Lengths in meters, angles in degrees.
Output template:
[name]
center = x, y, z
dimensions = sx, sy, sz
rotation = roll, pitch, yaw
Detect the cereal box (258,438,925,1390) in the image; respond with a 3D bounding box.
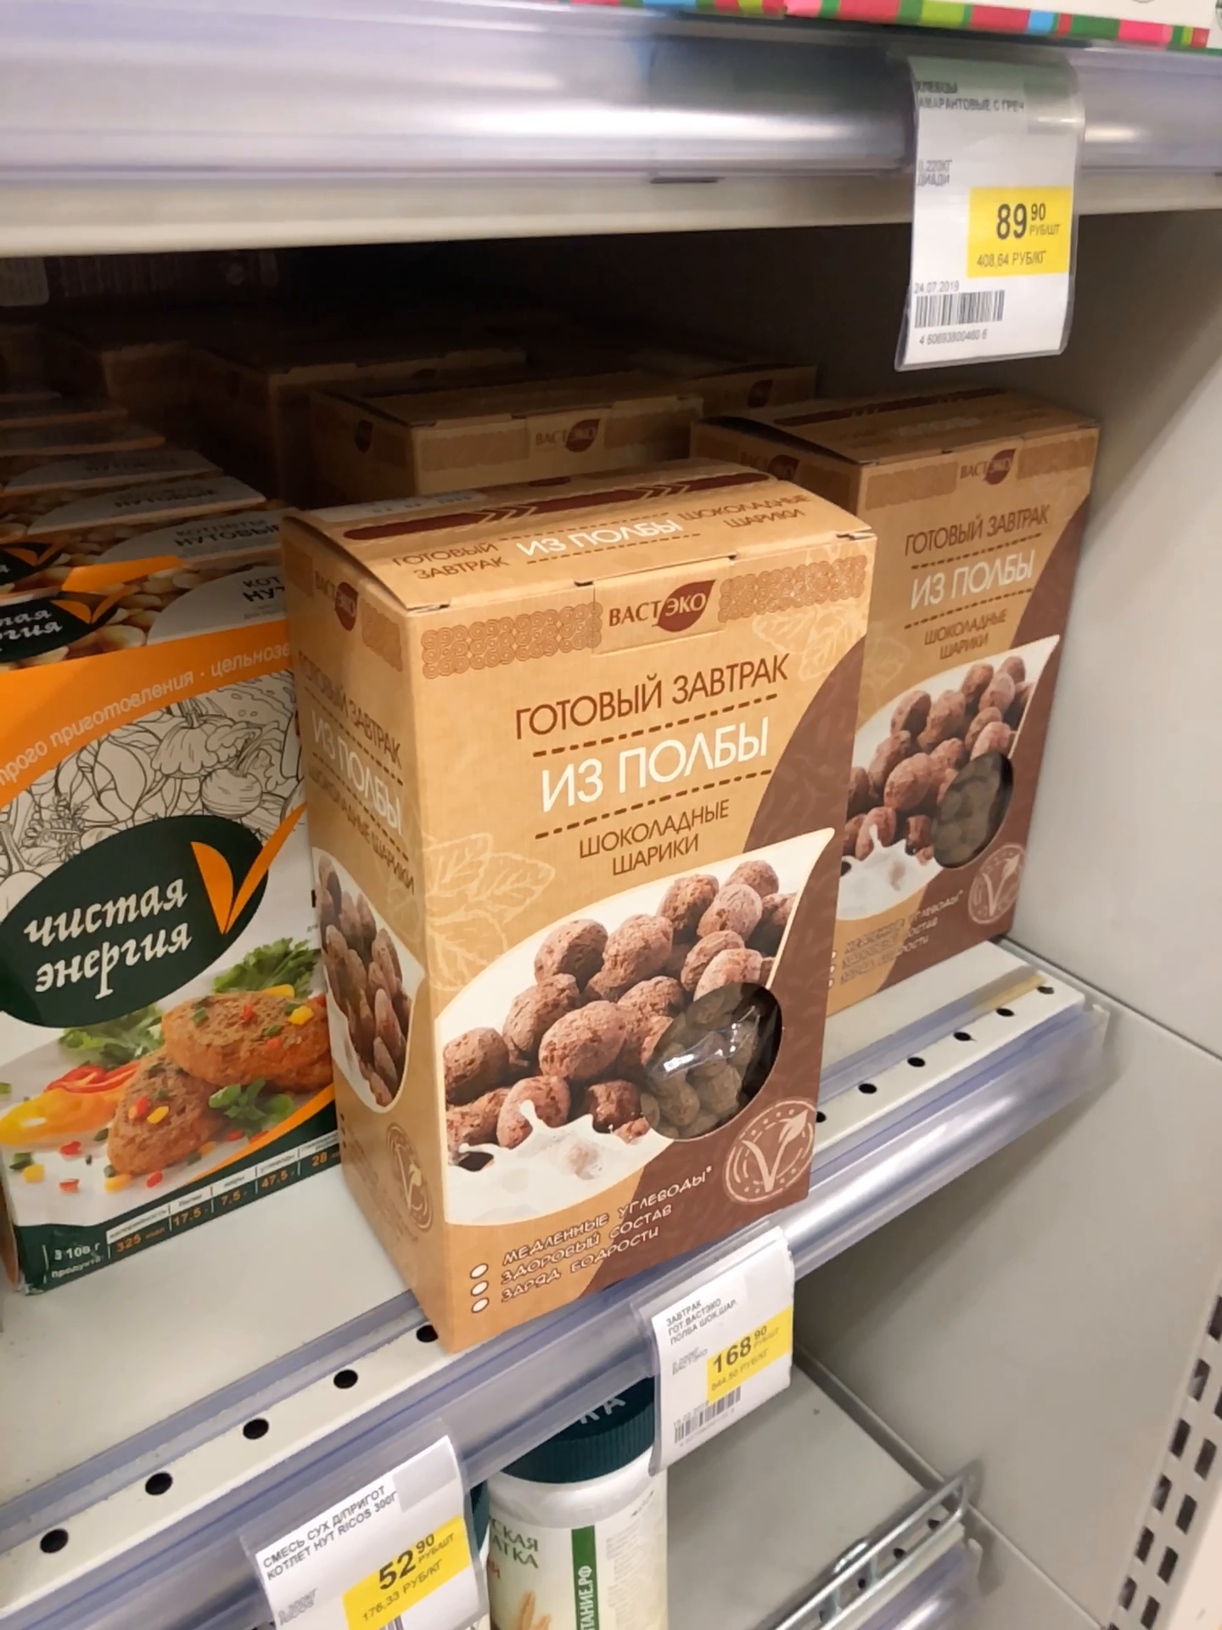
[cereal box]
center = -0.007, 0.020, 0.354
dimensions = 0.130, 0.209, 0.080
rotation = -14, 29, -28
